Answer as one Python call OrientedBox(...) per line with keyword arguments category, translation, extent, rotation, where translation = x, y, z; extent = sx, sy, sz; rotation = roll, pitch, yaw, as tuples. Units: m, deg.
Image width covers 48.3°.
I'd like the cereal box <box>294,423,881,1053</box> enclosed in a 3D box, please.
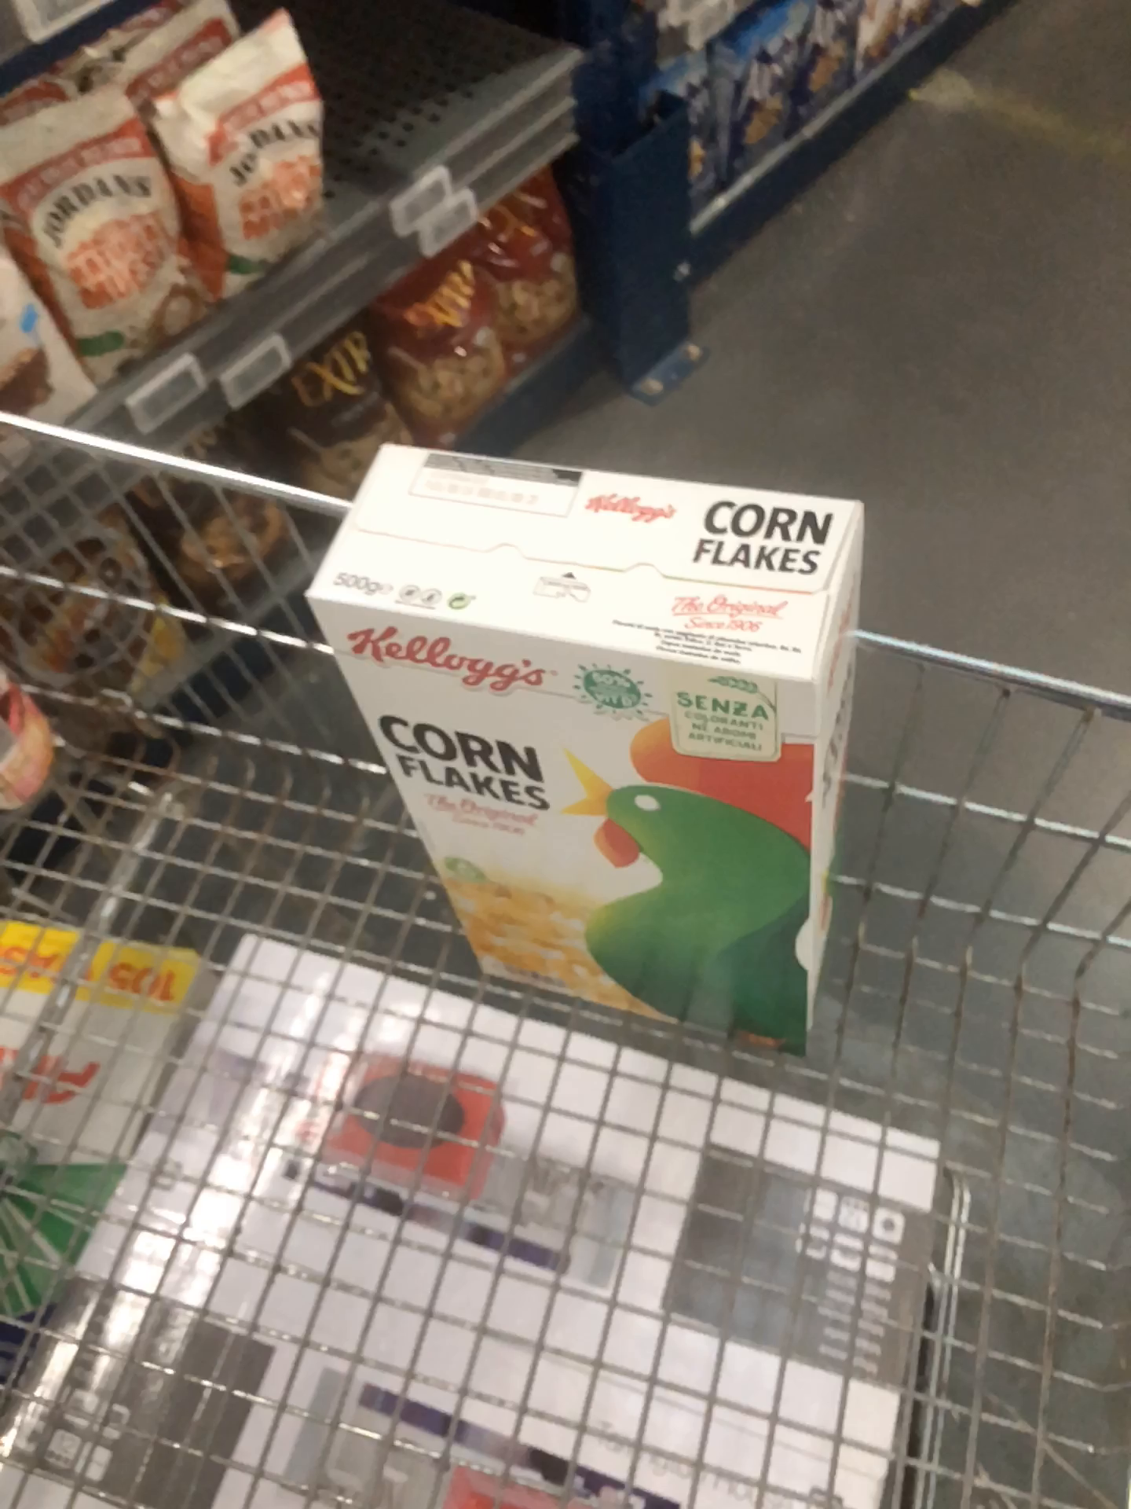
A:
OrientedBox(category="cereal box", translation=(0.030, 0.014, 0.580), extent=(0.190, 0.329, 0.090), rotation=(11, 59, 16))
